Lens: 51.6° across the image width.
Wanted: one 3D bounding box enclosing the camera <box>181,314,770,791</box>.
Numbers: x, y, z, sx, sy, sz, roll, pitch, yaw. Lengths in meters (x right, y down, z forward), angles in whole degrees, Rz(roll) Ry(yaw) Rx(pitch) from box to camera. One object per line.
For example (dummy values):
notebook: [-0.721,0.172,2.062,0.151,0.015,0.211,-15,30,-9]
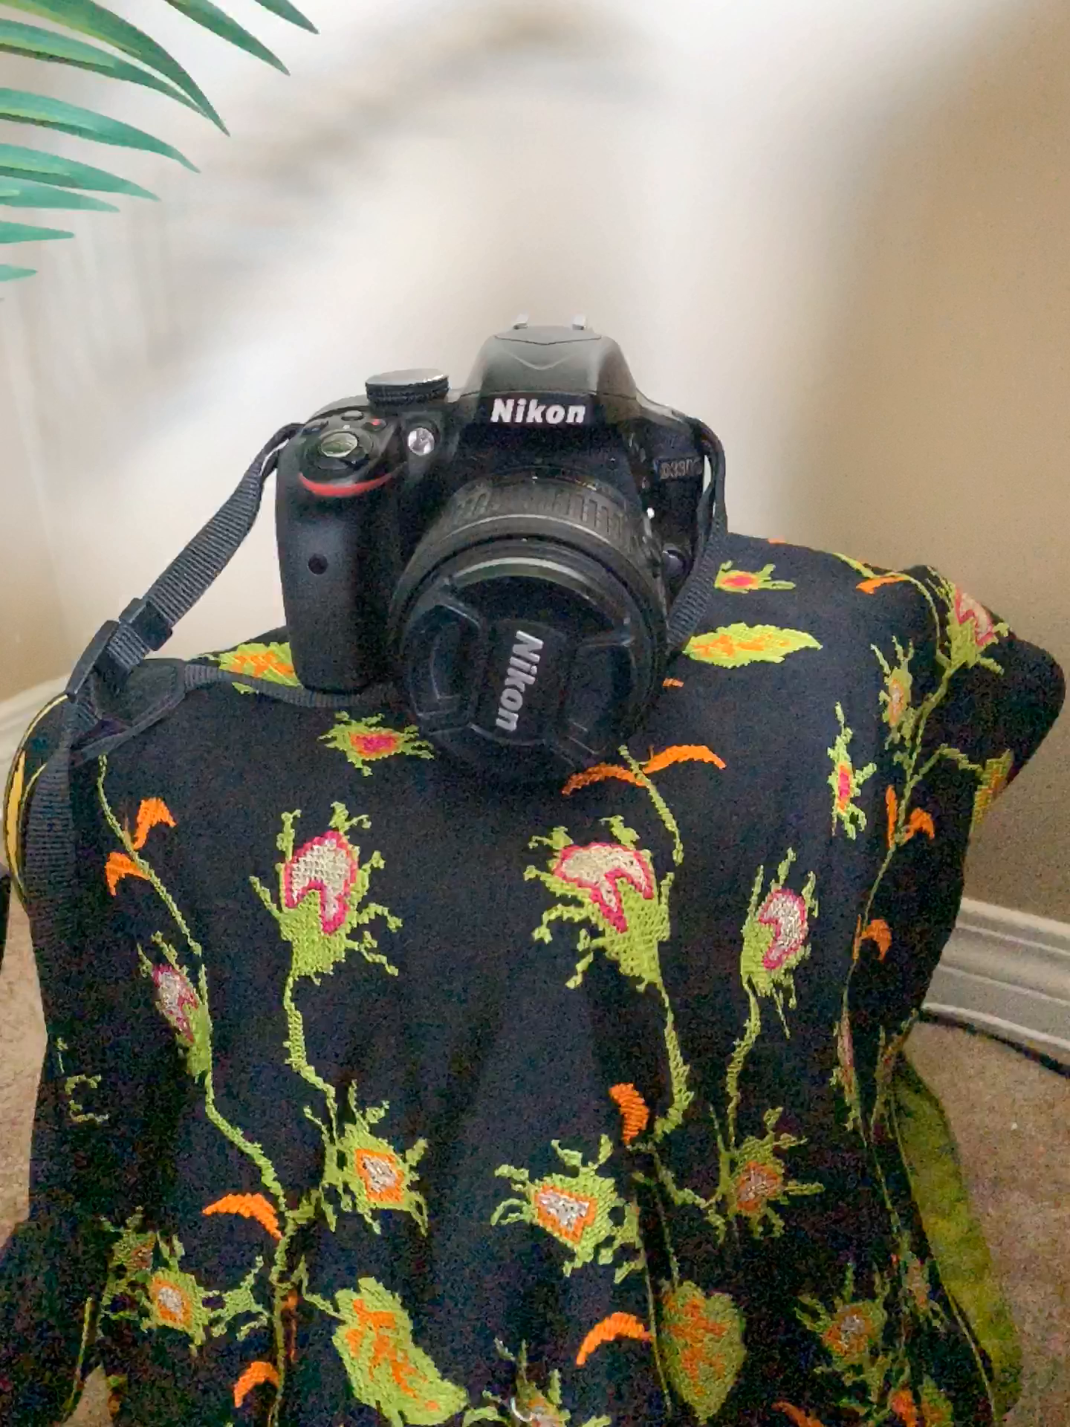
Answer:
camera: [-0.011,-0.046,0.286,0.120,0.099,0.091,0,25,2]
